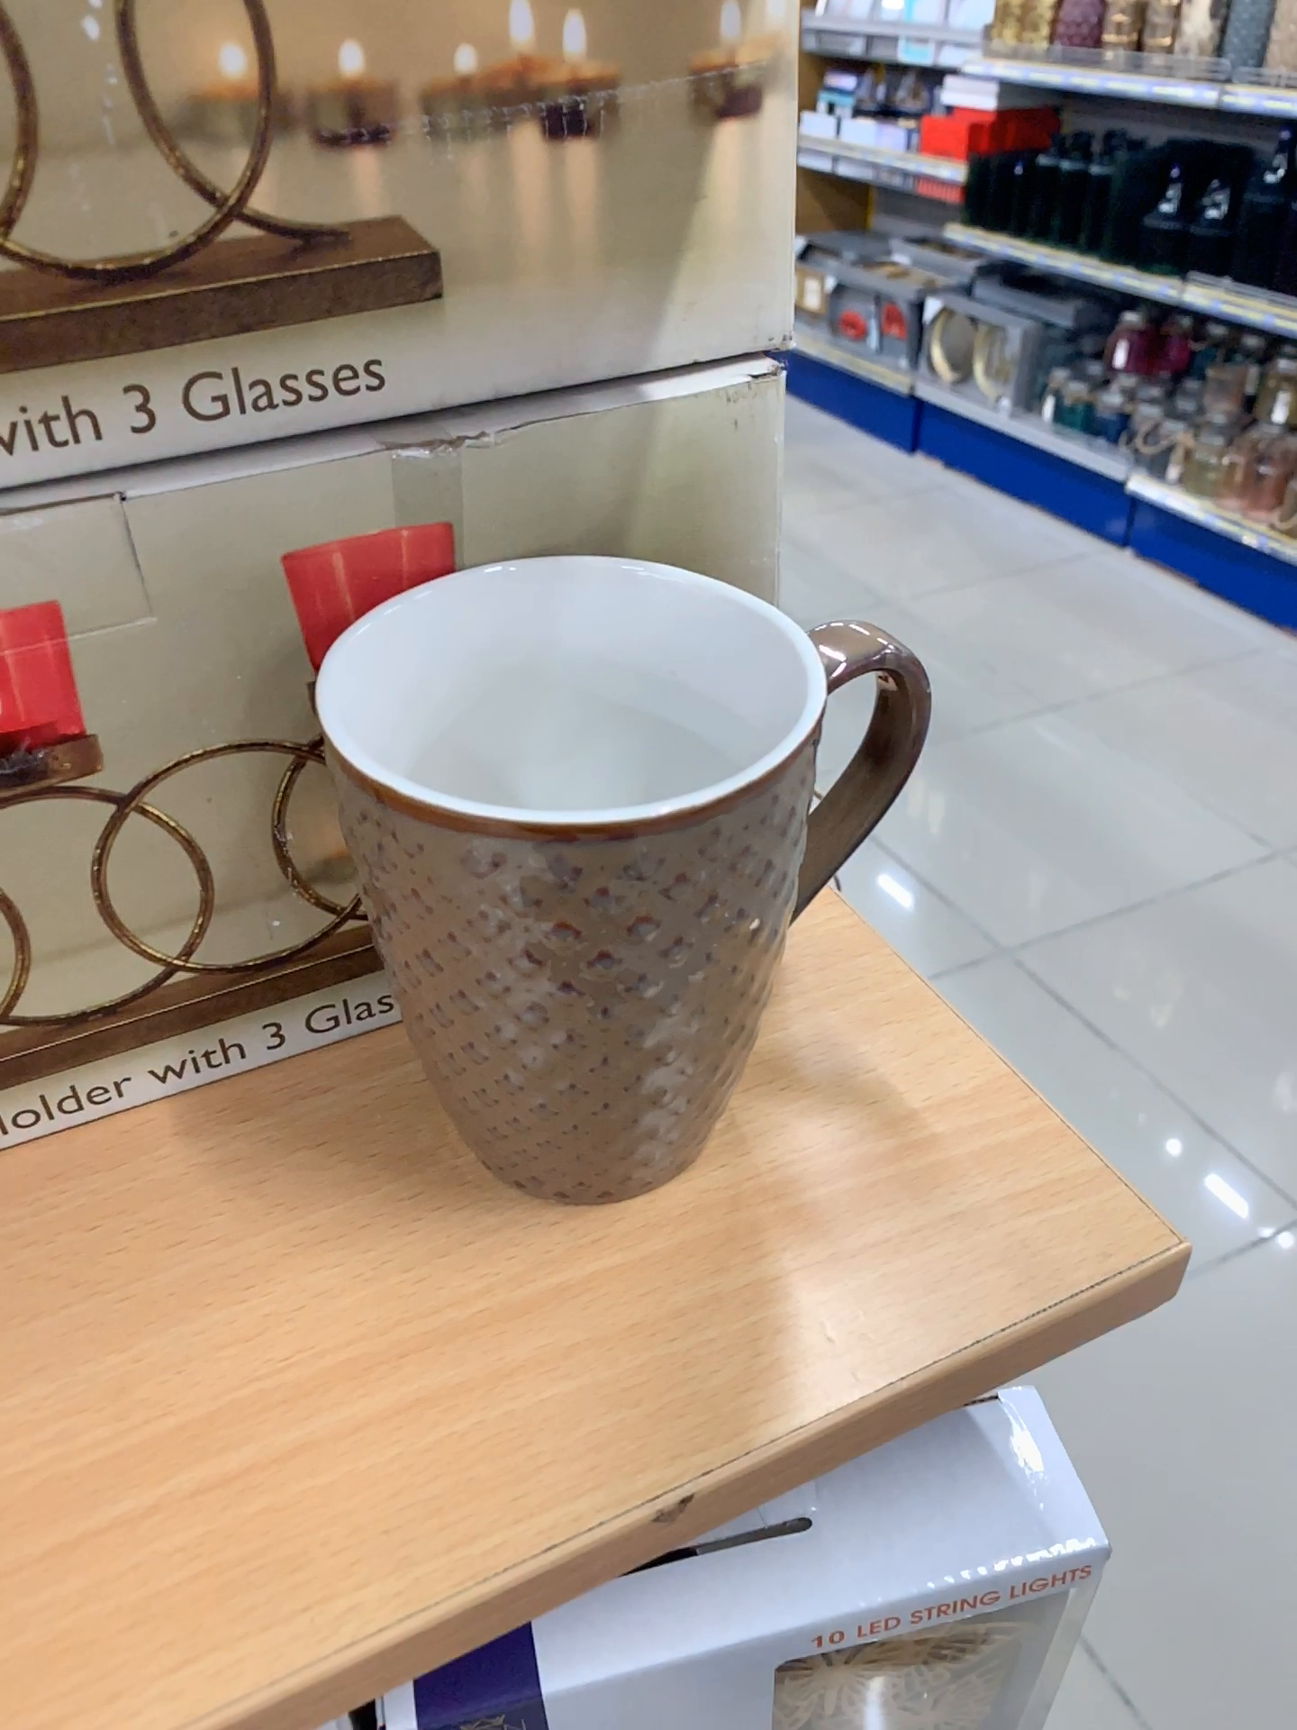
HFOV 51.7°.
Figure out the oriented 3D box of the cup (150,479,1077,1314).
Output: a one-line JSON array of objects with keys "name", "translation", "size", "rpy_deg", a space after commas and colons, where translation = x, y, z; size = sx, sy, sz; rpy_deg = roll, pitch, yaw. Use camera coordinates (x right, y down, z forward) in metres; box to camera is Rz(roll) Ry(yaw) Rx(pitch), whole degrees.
[{"name": "cup", "translation": [-0.008, -0.004, 0.252], "size": [0.130, 0.090, 0.090], "rpy_deg": [-18, 38, -23]}]
